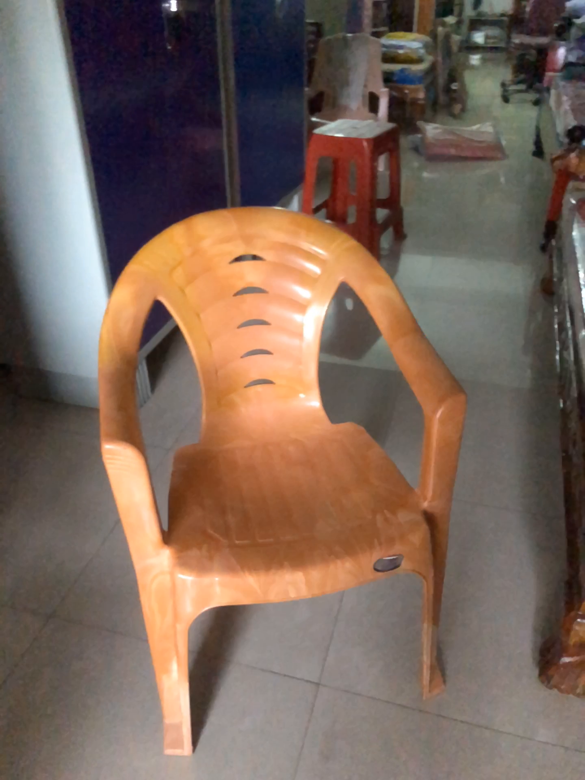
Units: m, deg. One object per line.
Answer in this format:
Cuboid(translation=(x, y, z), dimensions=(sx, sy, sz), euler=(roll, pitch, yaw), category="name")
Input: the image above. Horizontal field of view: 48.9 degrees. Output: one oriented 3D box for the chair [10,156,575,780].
Cuboid(translation=(-0.037, 0.104, 1.170), dimensions=(0.631, 0.846, 0.603), euler=(-8, 33, -11), category="chair")
